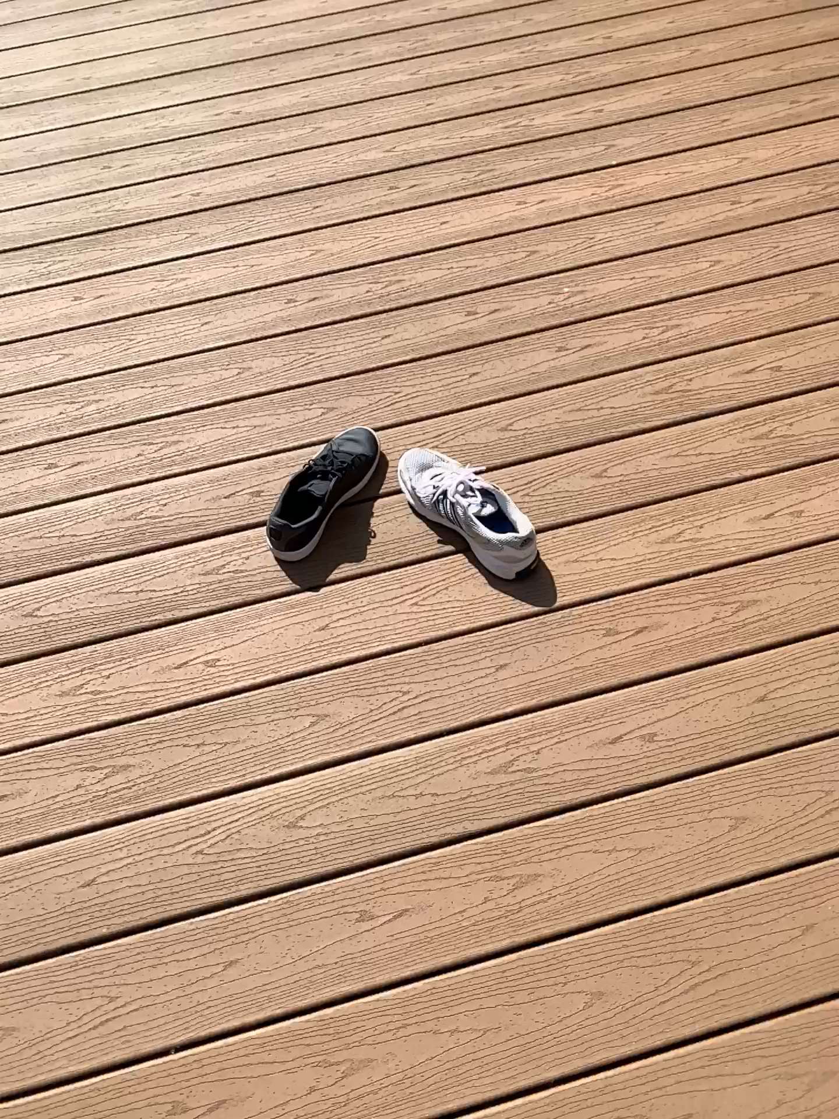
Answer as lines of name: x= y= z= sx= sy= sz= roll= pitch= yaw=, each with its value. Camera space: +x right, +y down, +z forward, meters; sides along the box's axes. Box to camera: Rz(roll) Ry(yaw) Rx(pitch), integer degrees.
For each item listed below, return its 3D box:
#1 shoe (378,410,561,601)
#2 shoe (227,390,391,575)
shoe: x=0.072 y=-0.085 z=1.297 sx=0.110 sy=0.120 sz=0.271 roll=-38 pitch=63 yaw=-19
shoe: x=-0.162 y=-0.122 z=1.320 sx=0.110 sy=0.100 sz=0.260 roll=25 pitch=63 yaw=18
